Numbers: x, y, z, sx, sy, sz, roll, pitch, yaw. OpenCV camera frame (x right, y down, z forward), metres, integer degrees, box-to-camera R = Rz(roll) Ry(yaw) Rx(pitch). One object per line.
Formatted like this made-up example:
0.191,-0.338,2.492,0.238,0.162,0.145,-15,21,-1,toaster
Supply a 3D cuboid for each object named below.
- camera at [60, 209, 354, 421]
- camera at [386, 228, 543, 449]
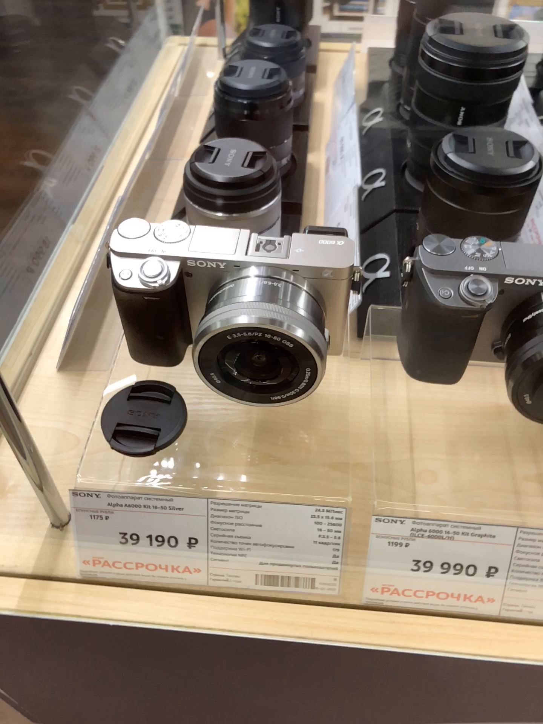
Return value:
-0.025,-0.025,0.302,0.124,0.061,0.076,5,48,5,camera
0.124,-0.013,0.292,0.127,0.061,0.076,5,48,5,camera
